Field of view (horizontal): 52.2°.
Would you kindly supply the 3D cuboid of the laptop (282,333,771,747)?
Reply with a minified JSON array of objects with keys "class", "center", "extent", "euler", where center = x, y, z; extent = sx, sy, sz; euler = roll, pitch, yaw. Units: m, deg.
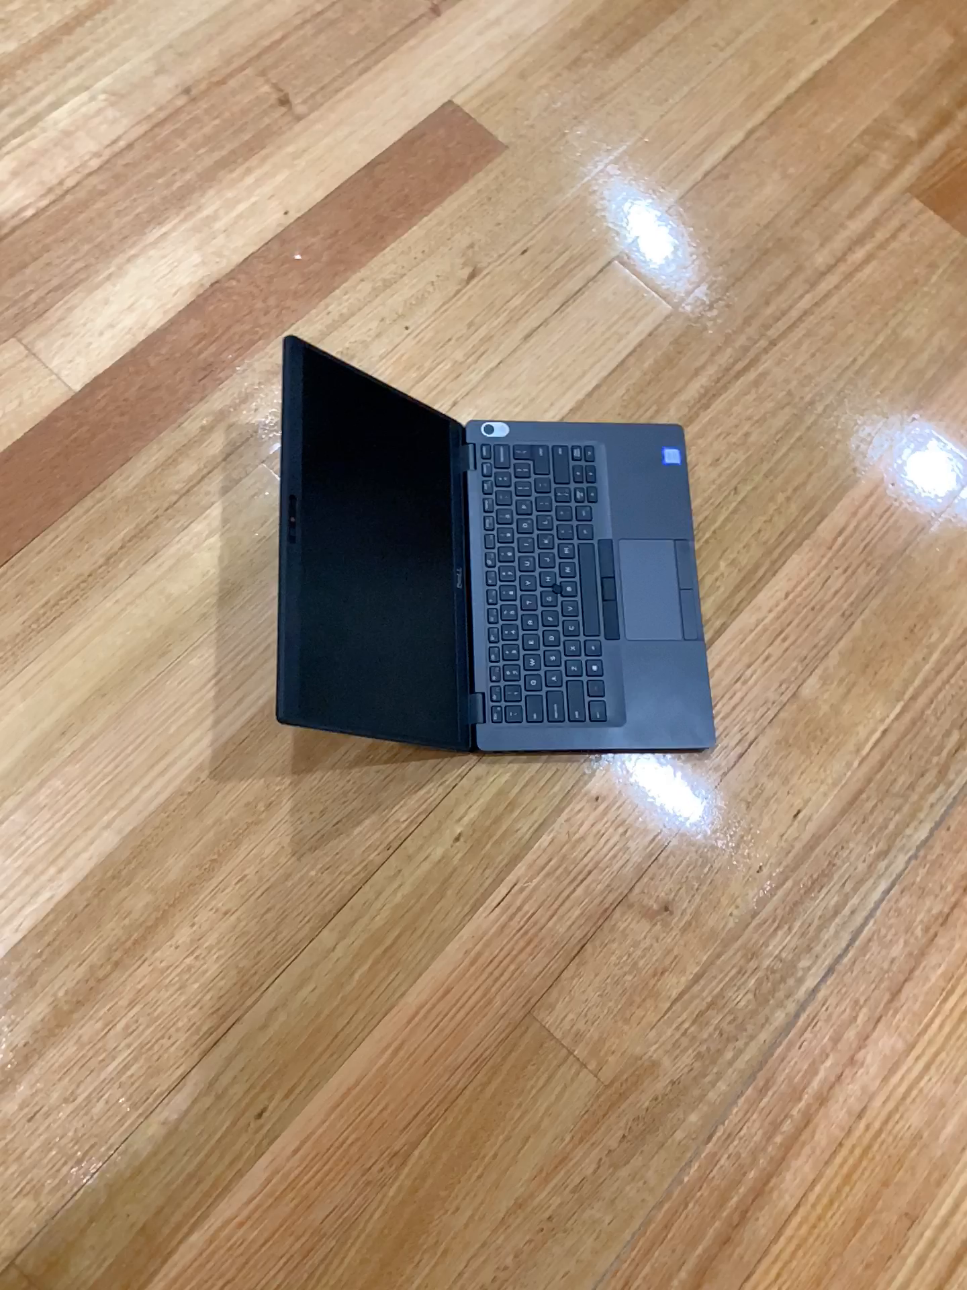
[{"class":"laptop","center":[0.024,-0.083,0.851],"extent":[0.372,0.134,0.320],"euler":[0,73,-7]}]
